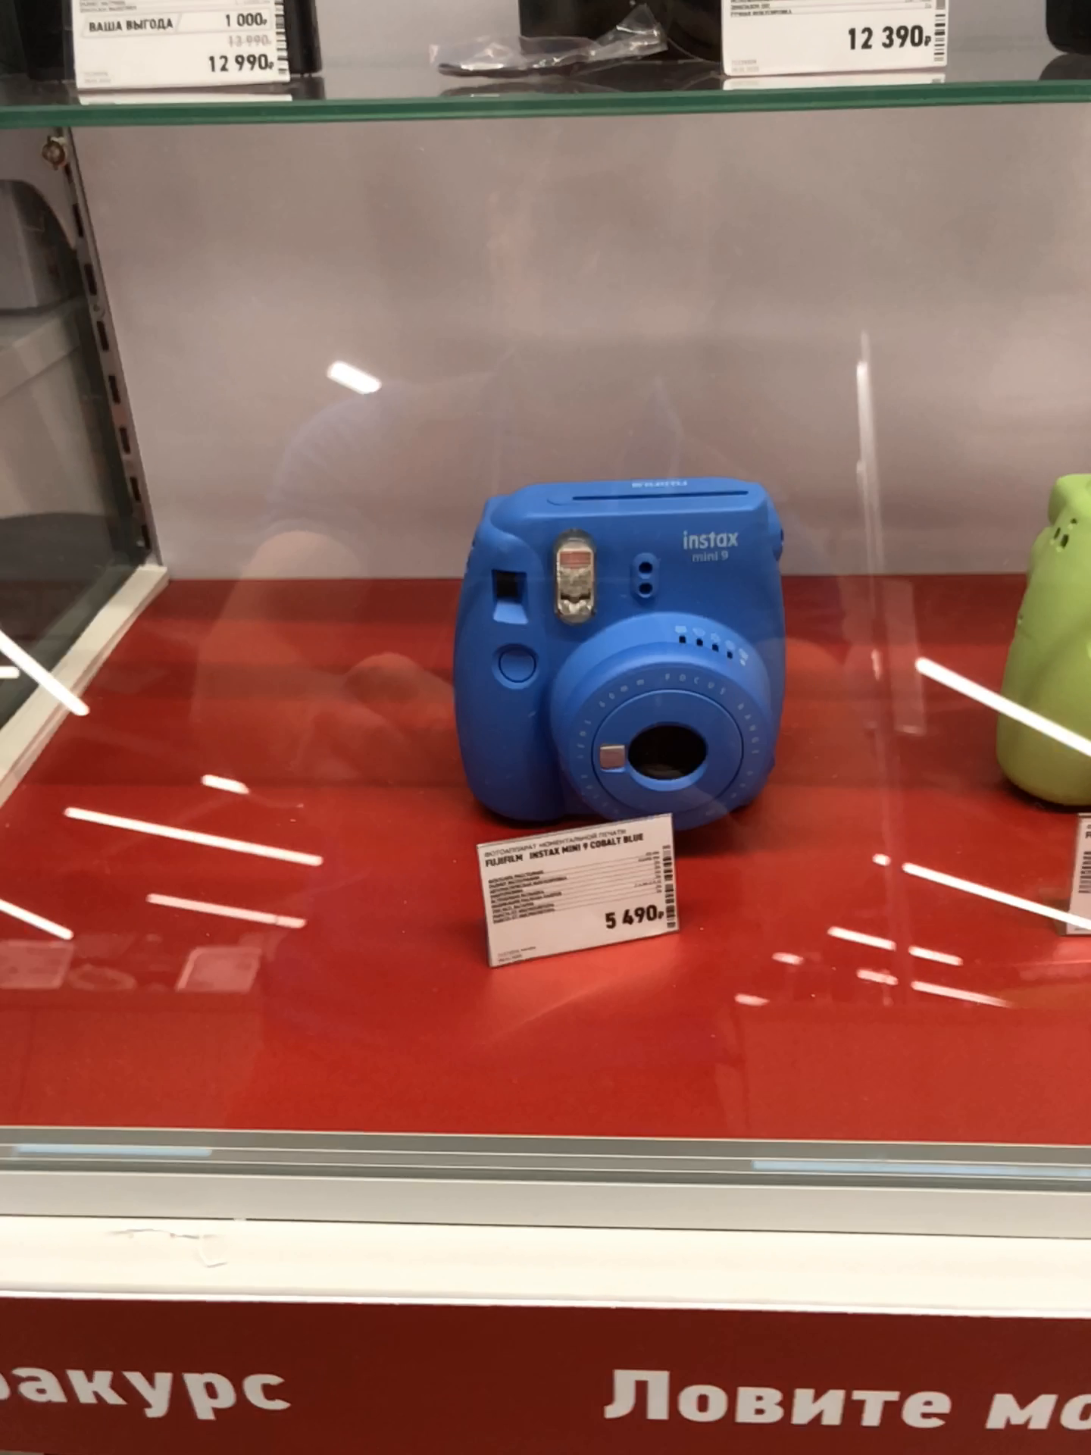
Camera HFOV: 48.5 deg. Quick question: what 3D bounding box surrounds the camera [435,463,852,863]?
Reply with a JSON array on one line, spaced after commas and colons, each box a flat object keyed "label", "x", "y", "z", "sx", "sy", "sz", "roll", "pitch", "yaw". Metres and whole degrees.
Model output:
[{"label": "camera", "x": 0.029, "y": -0.023, "z": 0.412, "sx": 0.122, "sy": 0.109, "sz": 0.070, "roll": -3, "pitch": 30, "yaw": -2}]
